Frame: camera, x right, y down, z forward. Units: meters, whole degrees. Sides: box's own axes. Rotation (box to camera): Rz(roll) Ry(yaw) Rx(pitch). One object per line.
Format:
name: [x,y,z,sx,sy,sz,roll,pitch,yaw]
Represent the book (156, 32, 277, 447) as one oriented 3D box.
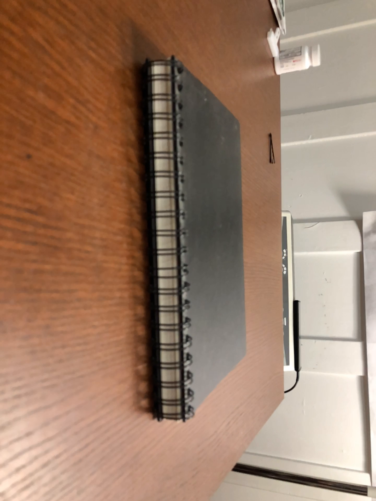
book: [0.038,-0.009,0.355,0.201,0.030,0.260,-7,95,-67]
